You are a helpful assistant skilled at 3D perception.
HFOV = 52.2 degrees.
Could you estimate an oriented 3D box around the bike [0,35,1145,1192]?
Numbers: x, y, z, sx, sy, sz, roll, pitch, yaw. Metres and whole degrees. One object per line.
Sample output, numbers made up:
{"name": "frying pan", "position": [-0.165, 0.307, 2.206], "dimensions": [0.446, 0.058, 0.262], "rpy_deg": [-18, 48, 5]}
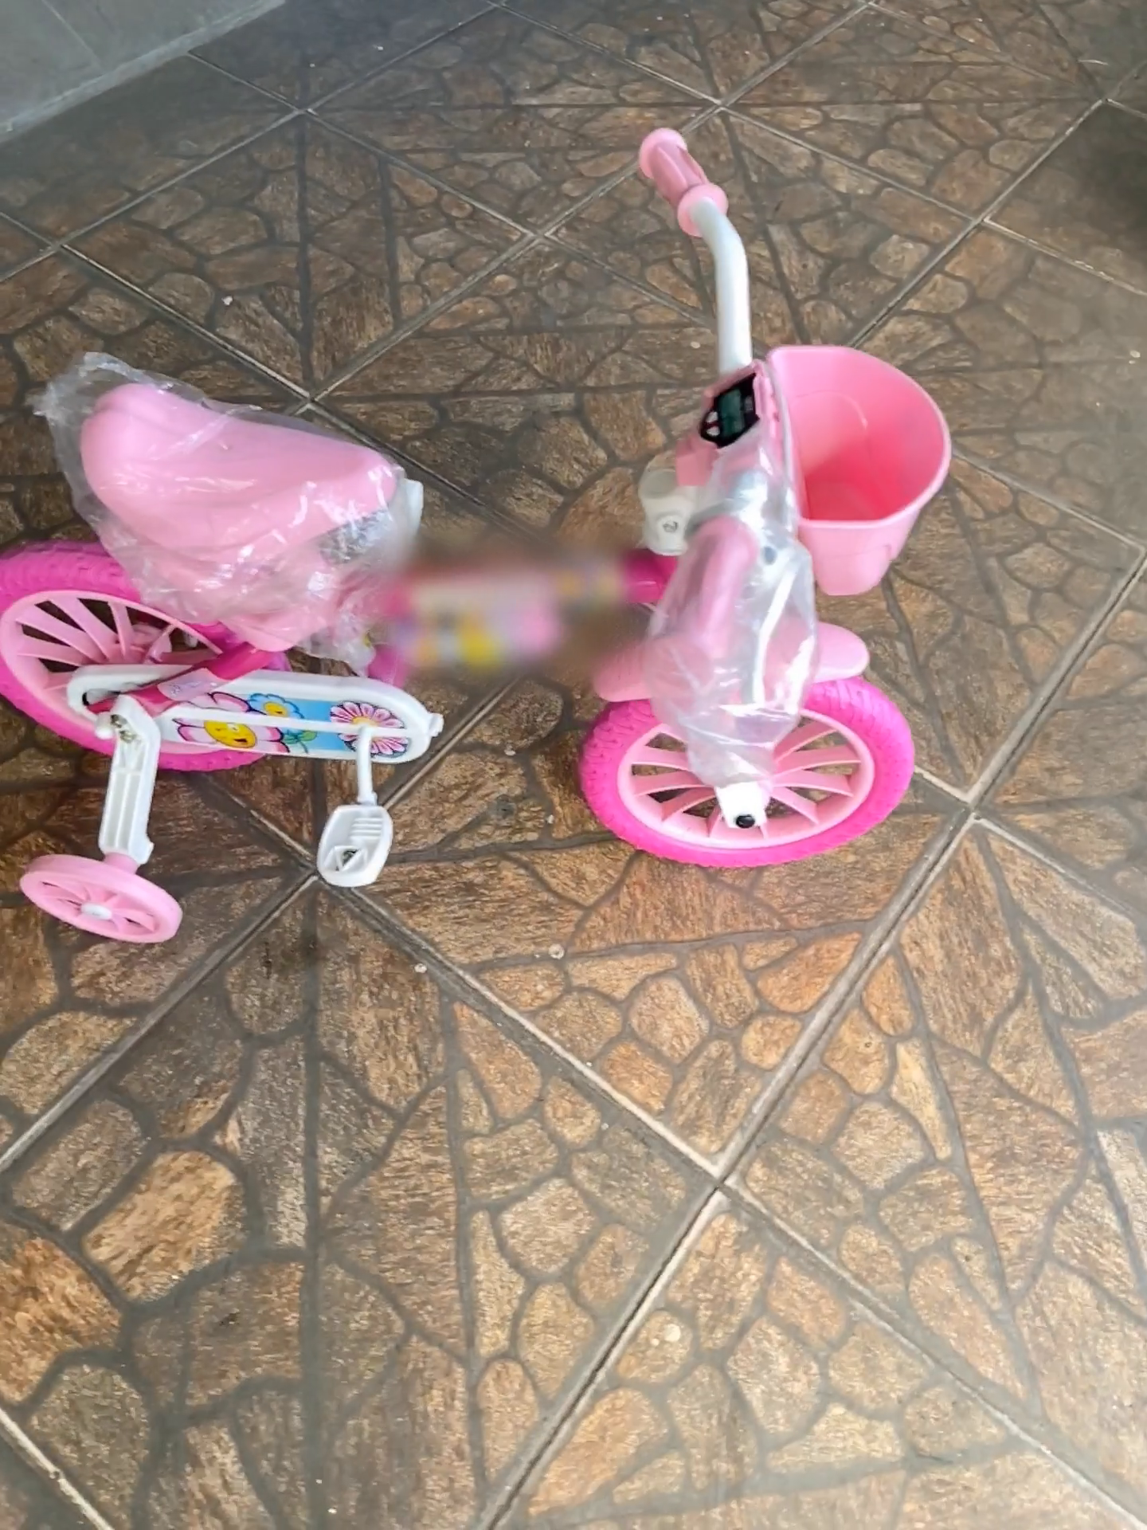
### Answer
{"name": "bike", "position": [-0.123, -0.084, 0.892], "dimensions": [0.792, 0.563, 0.513], "rpy_deg": [8, 56, 4]}
